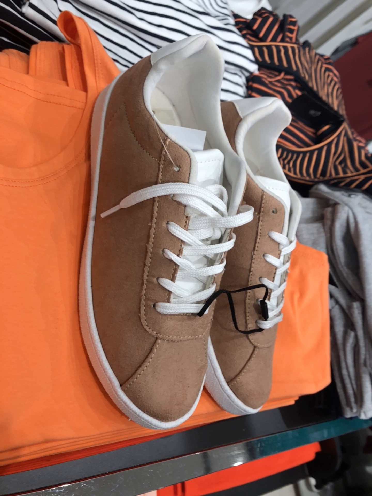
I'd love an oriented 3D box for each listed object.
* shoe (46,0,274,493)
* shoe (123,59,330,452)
[{"bbox_3d":[-0.024,-0.005,0.268,0.091,0.099,0.250,6,76,-44],"label":"shoe"},{"bbox_3d":[0.027,0.006,0.328,0.091,0.099,0.250,1,80,-45],"label":"shoe"}]
